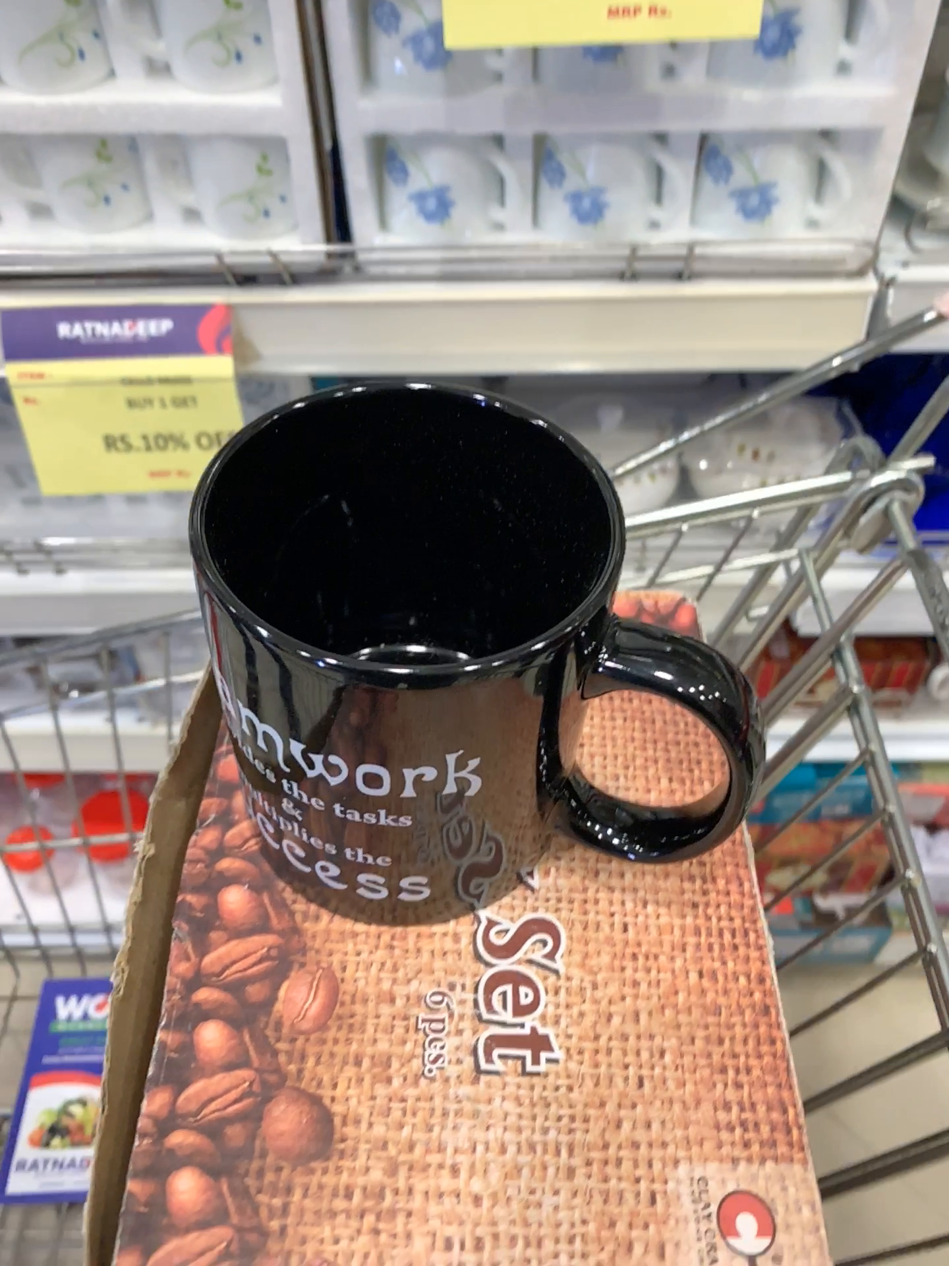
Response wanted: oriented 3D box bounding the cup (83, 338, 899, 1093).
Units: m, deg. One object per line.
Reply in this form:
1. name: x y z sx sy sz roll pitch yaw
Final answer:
1. cup: 0.003 0.019 0.212 0.120 0.100 0.080 24 55 13
